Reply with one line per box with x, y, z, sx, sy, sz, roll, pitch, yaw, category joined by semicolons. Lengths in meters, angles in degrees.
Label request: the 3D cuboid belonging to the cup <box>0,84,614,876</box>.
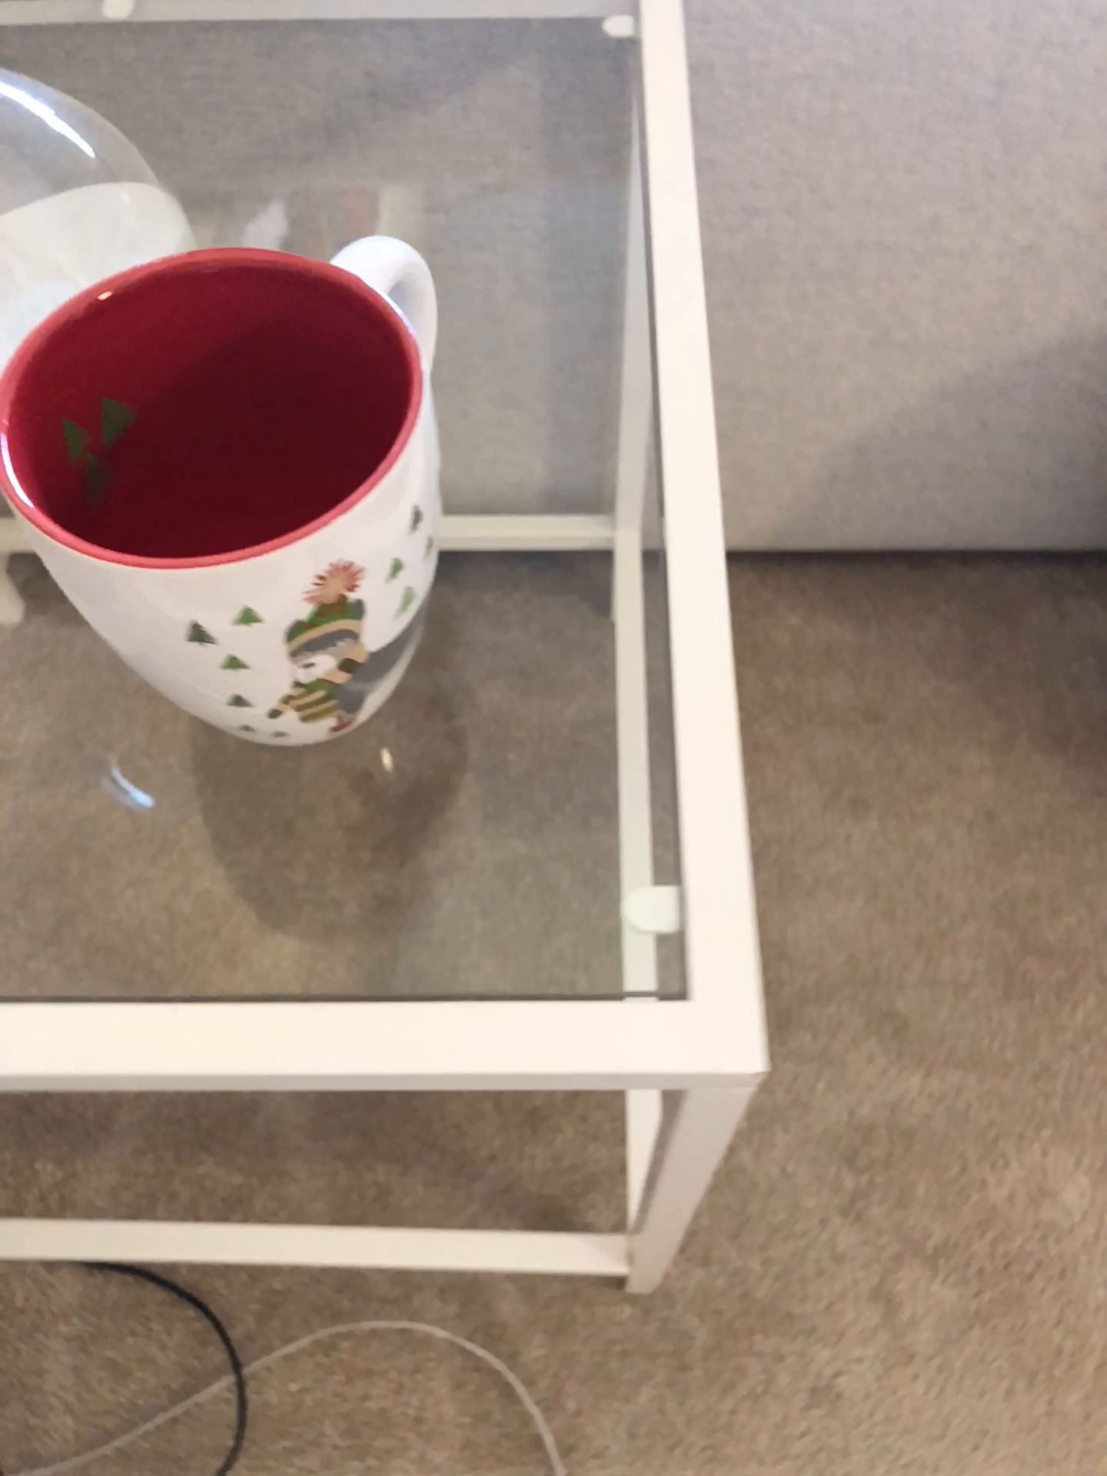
-0.062;-0.068;0.329;0.100;0.110;0.150;22;62;13;cup
